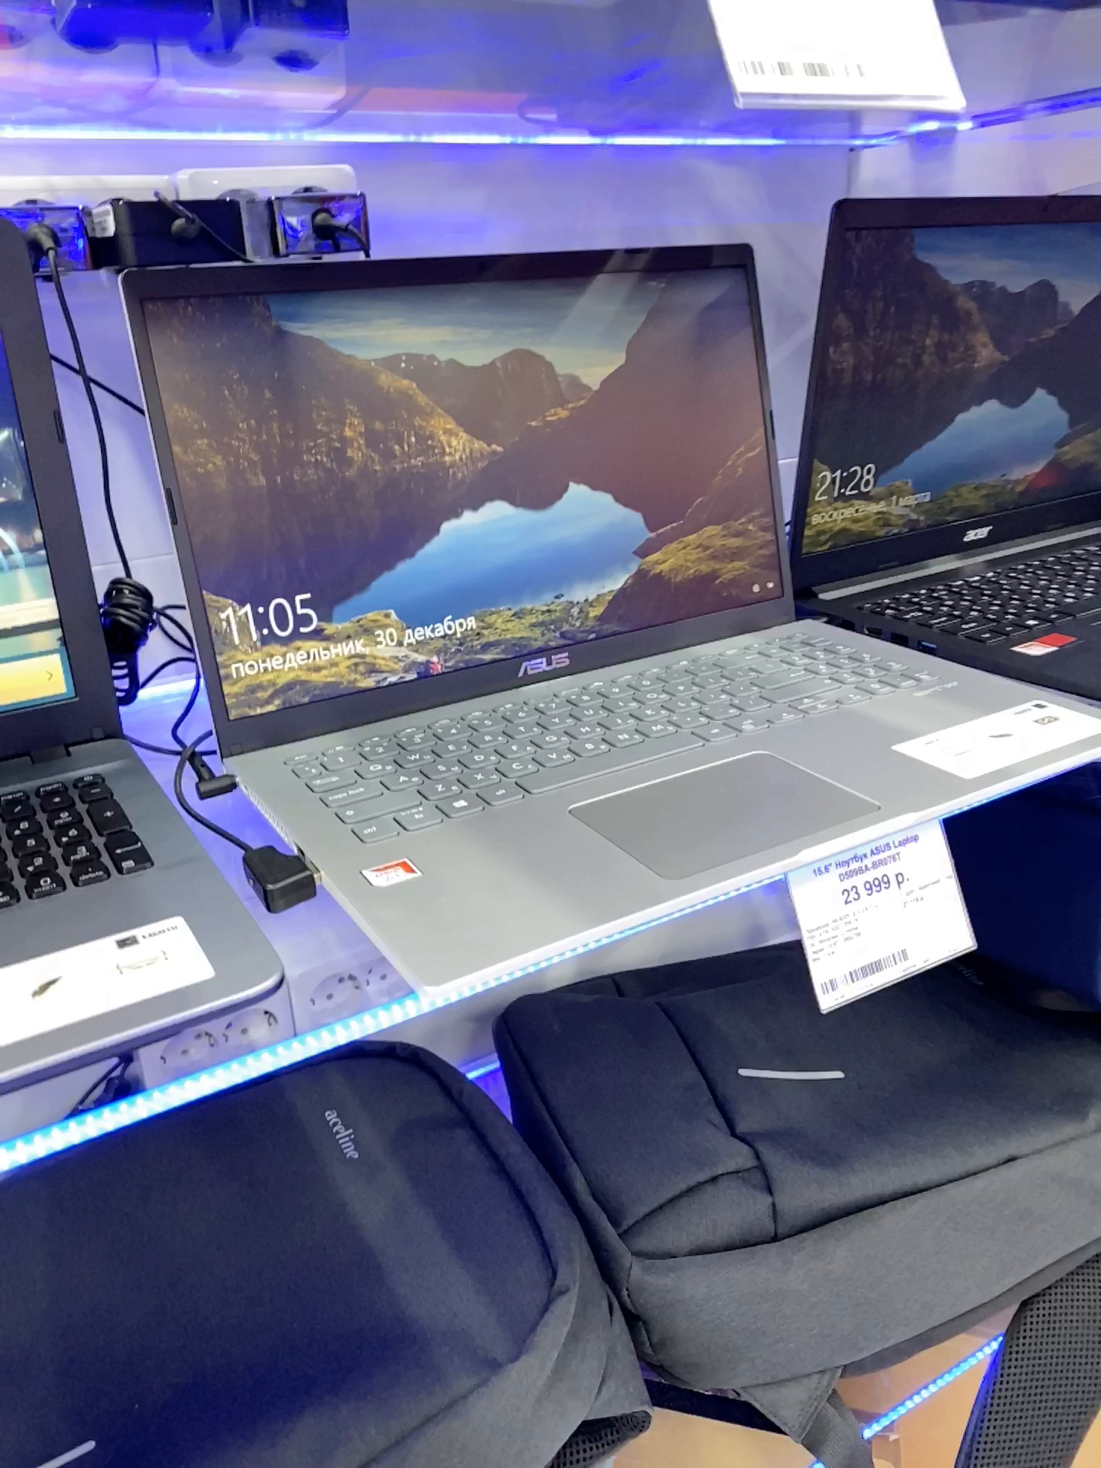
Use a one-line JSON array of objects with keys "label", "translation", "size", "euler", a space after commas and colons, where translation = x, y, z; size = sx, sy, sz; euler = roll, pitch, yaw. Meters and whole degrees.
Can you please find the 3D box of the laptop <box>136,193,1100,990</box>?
[{"label": "laptop", "translation": [0.045, -0.104, 0.503], "size": [0.360, 0.216, 0.286], "euler": [-14, 23, -27]}]
